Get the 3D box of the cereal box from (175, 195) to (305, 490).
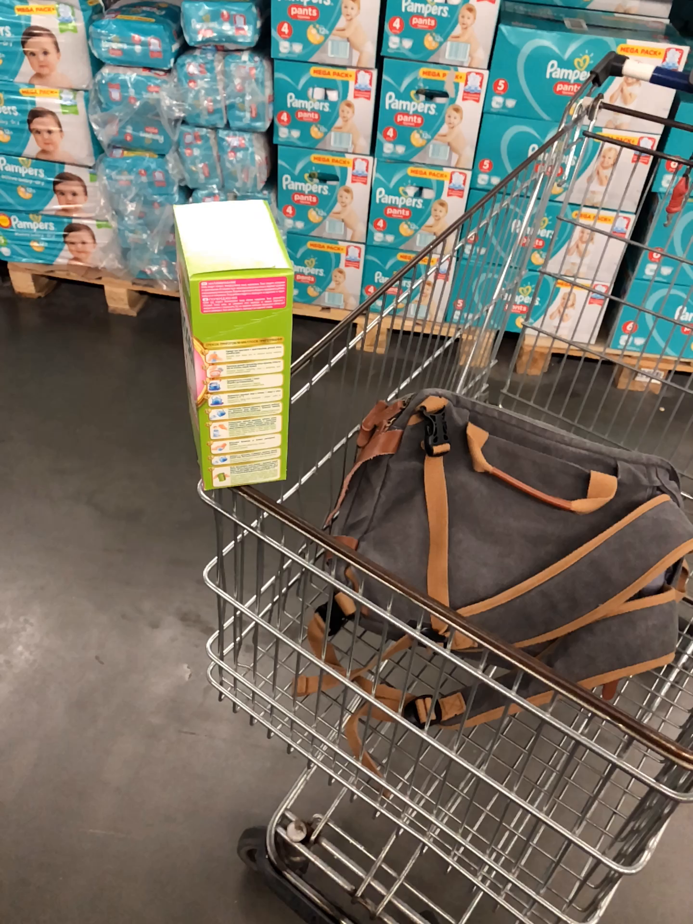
[{"bbox_3d":[-0.081,-0.085,0.567,0.070,0.189,0.101,-7,45,-14],"label":"cereal box"}]
